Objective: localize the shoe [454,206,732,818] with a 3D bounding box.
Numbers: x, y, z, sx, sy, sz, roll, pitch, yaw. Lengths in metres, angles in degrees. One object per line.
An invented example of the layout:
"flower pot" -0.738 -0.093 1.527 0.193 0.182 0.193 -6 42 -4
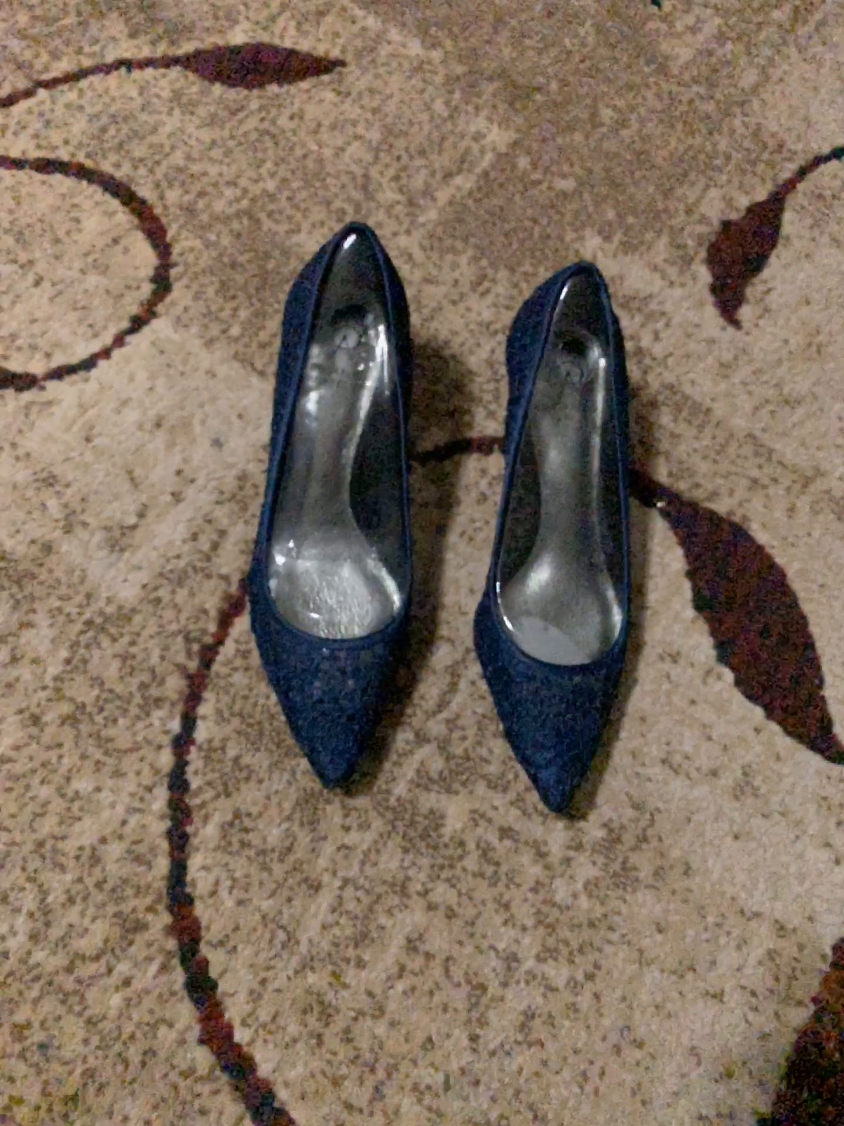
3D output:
"shoe" 0.071 -0.025 0.429 0.088 0.089 0.284 1 71 -7

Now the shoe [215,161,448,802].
"shoe" -0.042 -0.040 0.420 0.088 0.089 0.293 1 71 -7
